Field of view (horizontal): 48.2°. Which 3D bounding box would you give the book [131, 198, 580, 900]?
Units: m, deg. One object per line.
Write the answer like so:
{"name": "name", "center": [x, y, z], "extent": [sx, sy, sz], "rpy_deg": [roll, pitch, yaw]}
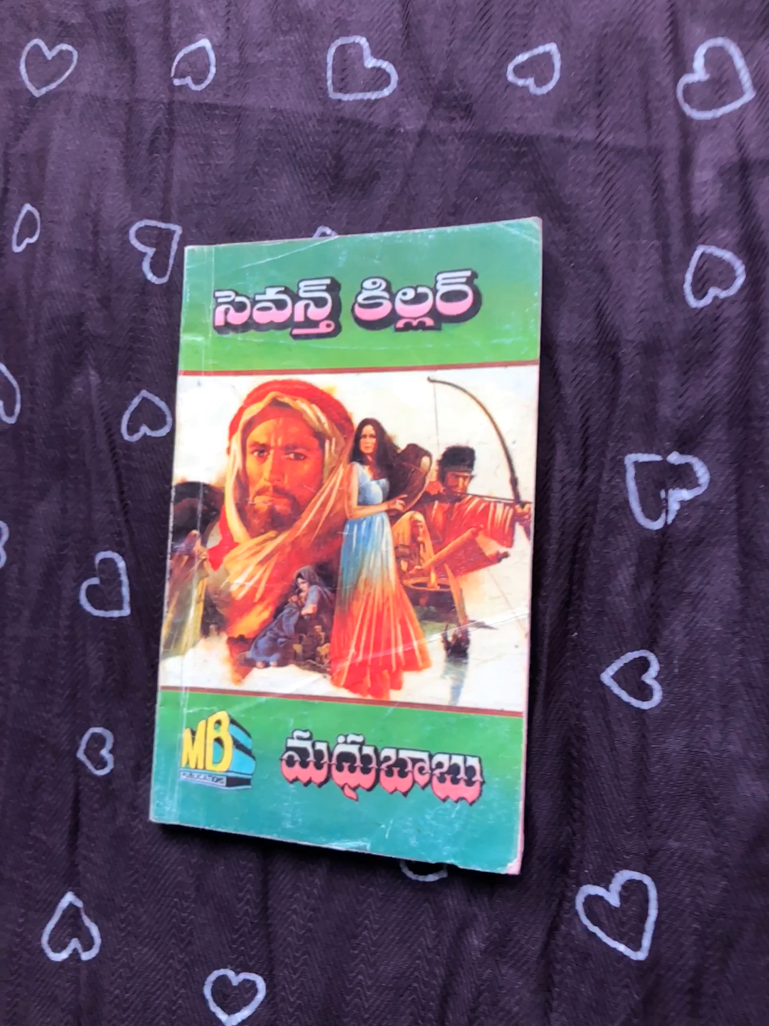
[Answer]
{"name": "book", "center": [-0.008, 0.005, 0.202], "extent": [0.100, 0.010, 0.150], "rpy_deg": [2, 87, 16]}
